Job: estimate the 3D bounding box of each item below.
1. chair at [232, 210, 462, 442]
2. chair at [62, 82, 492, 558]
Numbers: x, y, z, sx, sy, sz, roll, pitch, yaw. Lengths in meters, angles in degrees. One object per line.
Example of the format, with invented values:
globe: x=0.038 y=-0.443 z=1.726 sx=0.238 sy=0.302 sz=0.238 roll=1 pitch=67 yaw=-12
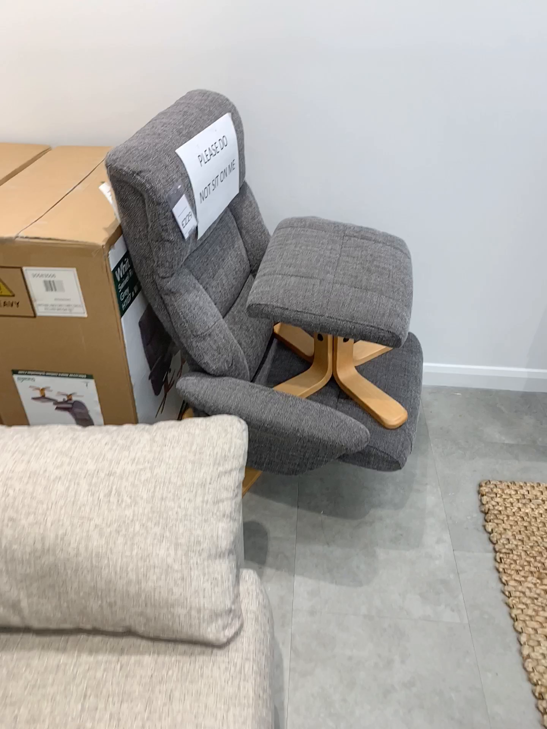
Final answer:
chair: x=0.189 y=-0.128 z=1.455 sx=0.479 sy=0.351 sz=0.486 roll=7 pitch=37 yaw=8
chair: x=0.041 y=-0.135 z=1.484 sx=0.719 sy=0.975 sz=0.708 roll=6 pitch=37 yaw=7
